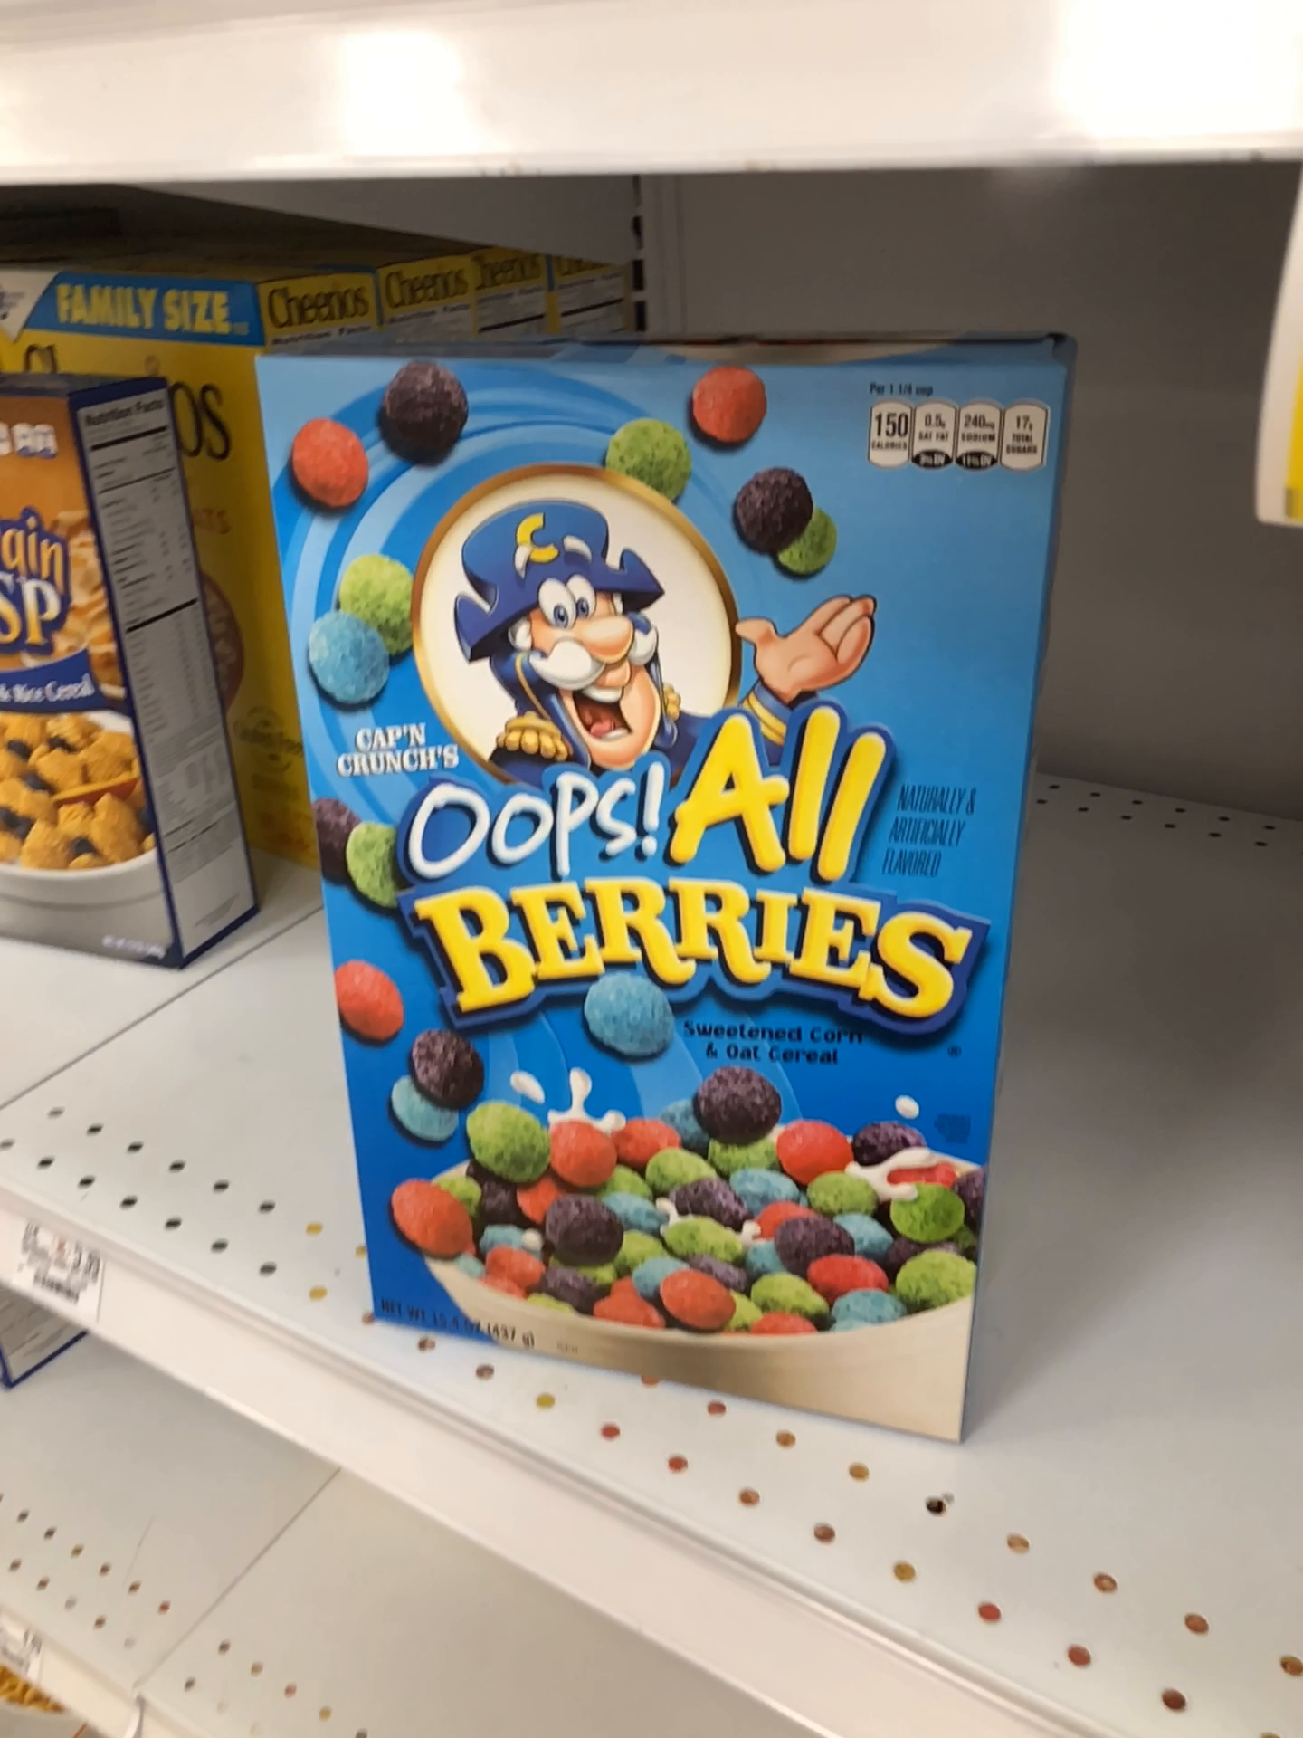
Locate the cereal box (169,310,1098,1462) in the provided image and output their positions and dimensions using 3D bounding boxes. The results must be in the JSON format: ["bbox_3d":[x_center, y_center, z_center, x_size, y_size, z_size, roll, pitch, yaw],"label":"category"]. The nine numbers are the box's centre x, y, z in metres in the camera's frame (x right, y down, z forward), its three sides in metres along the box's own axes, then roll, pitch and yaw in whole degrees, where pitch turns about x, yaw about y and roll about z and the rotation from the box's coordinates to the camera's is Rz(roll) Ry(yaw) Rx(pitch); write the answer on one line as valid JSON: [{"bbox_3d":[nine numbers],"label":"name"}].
[{"bbox_3d":[0.004,0.009,0.432,0.220,0.319,0.080,6,27,17],"label":"cereal box"}]
